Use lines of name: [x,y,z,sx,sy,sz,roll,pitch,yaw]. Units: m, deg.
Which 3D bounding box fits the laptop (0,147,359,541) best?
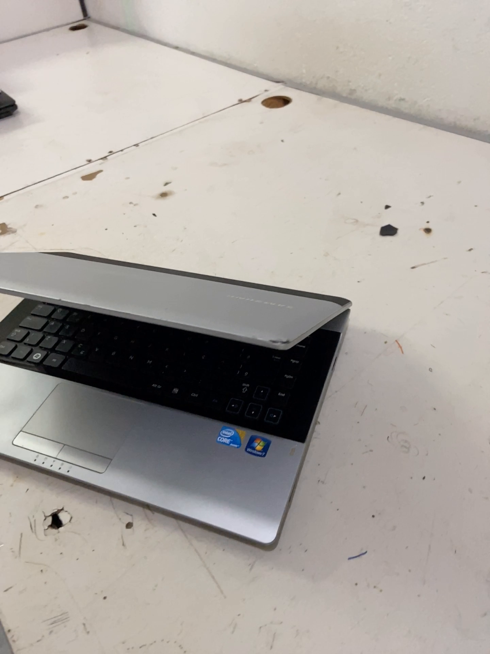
laptop: [-0.105,-0.017,0.410,0.337,0.133,0.233,11,48,18]
